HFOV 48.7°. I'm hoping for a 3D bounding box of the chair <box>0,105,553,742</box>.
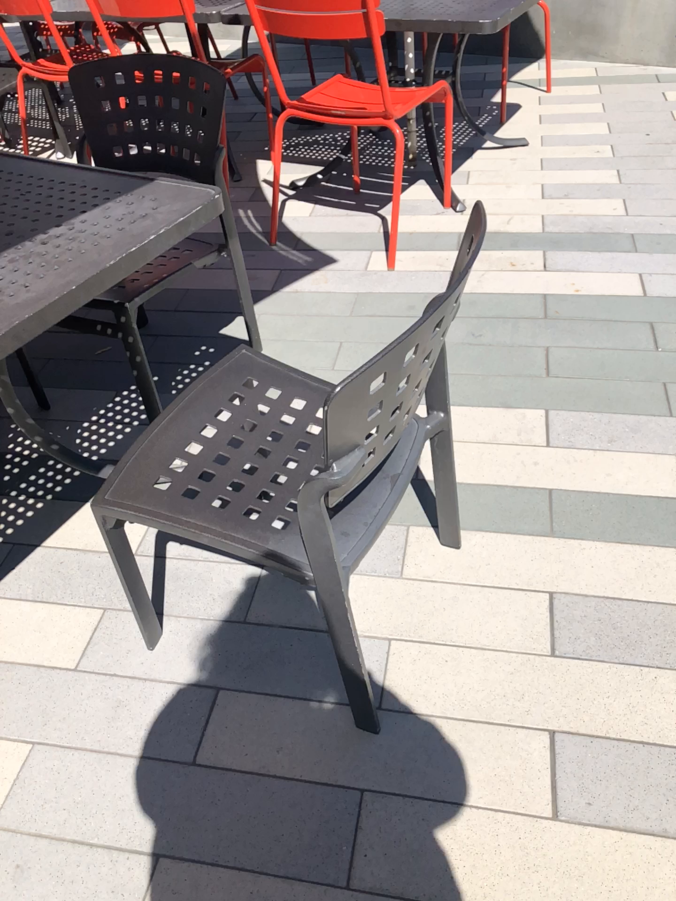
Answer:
[{"bbox_3d":[-0.039,-0.046,1.193,0.531,0.756,0.522,15,44,17],"label":"chair"}]
